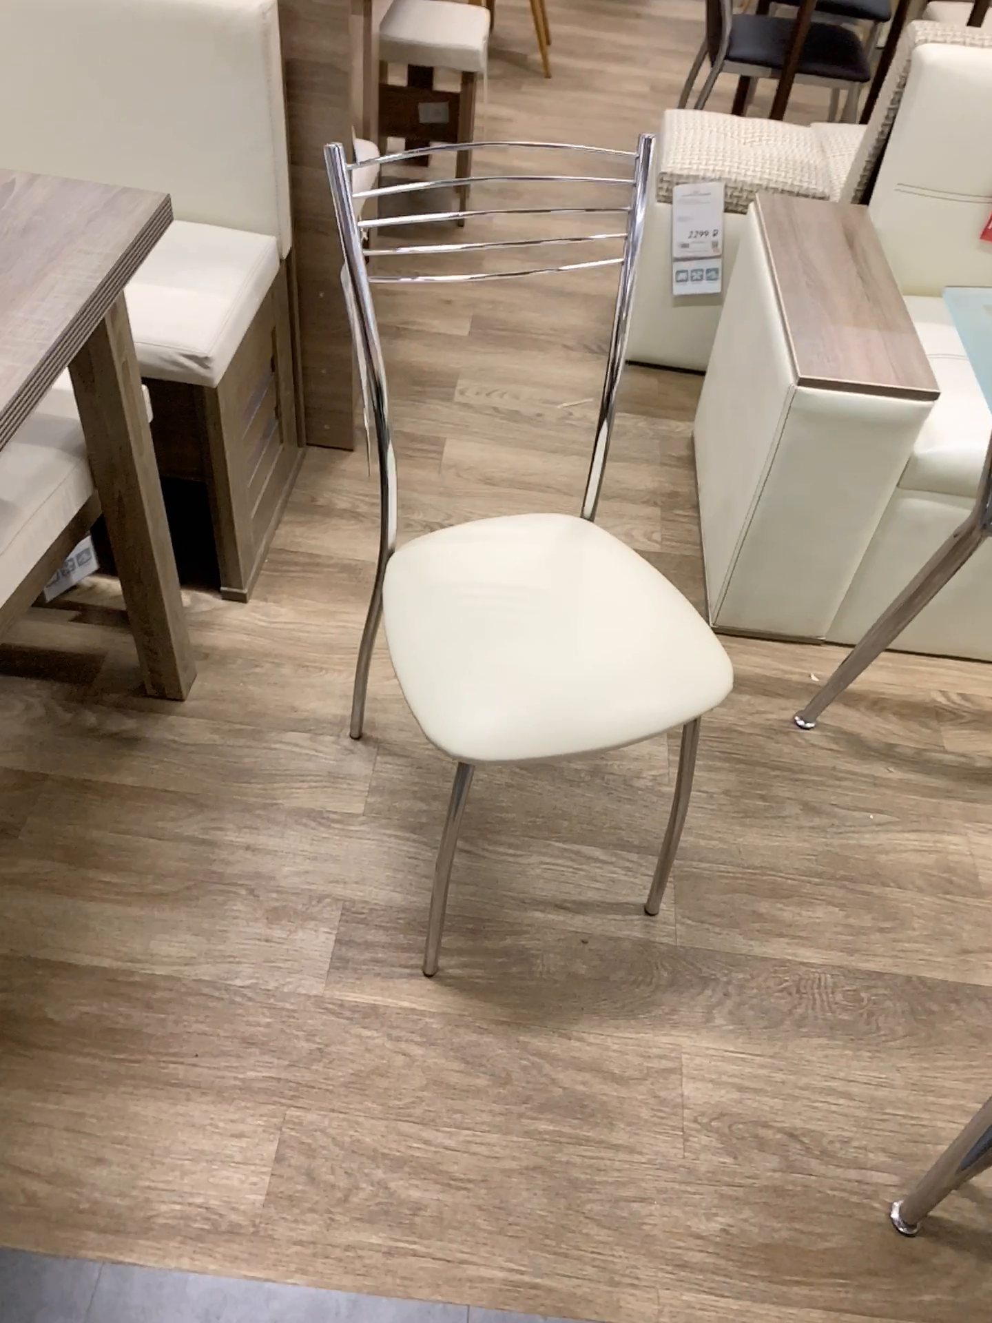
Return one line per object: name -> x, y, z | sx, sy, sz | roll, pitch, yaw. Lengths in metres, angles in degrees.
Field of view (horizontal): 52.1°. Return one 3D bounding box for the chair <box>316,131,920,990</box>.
chair -> 0.040, -0.067, 1.297 | 0.413, 0.967, 0.482 | -10, 50, -16
